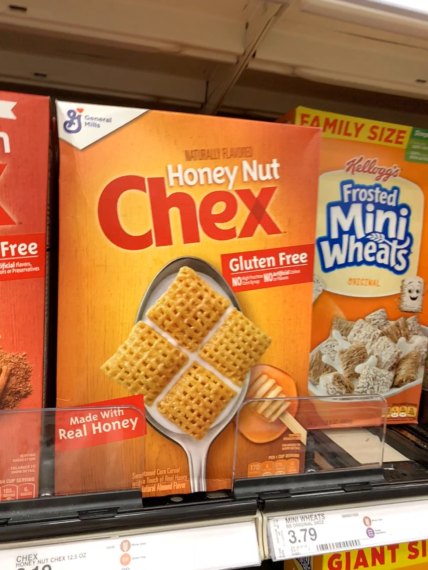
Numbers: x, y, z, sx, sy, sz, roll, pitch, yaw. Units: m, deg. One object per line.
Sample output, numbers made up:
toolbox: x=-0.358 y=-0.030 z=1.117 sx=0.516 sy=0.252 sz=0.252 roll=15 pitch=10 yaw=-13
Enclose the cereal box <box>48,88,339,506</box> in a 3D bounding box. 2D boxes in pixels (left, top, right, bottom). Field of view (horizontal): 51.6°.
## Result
cereal box: x=-0.019 y=0.014 z=0.349 sx=0.200 sy=0.280 sz=0.060 roll=2 pitch=6 yaw=-16
